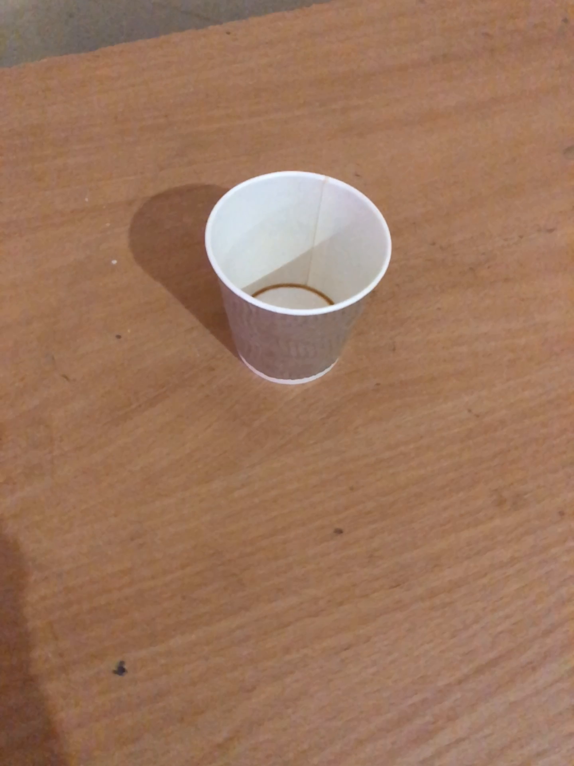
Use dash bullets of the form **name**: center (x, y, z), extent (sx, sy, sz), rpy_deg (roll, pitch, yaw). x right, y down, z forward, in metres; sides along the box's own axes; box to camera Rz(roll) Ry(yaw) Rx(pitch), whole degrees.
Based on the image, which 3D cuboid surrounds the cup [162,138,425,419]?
- **cup**: center (0.003, -0.043, 0.268), extent (0.074, 0.064, 0.067), rpy_deg (32, 67, 14)
